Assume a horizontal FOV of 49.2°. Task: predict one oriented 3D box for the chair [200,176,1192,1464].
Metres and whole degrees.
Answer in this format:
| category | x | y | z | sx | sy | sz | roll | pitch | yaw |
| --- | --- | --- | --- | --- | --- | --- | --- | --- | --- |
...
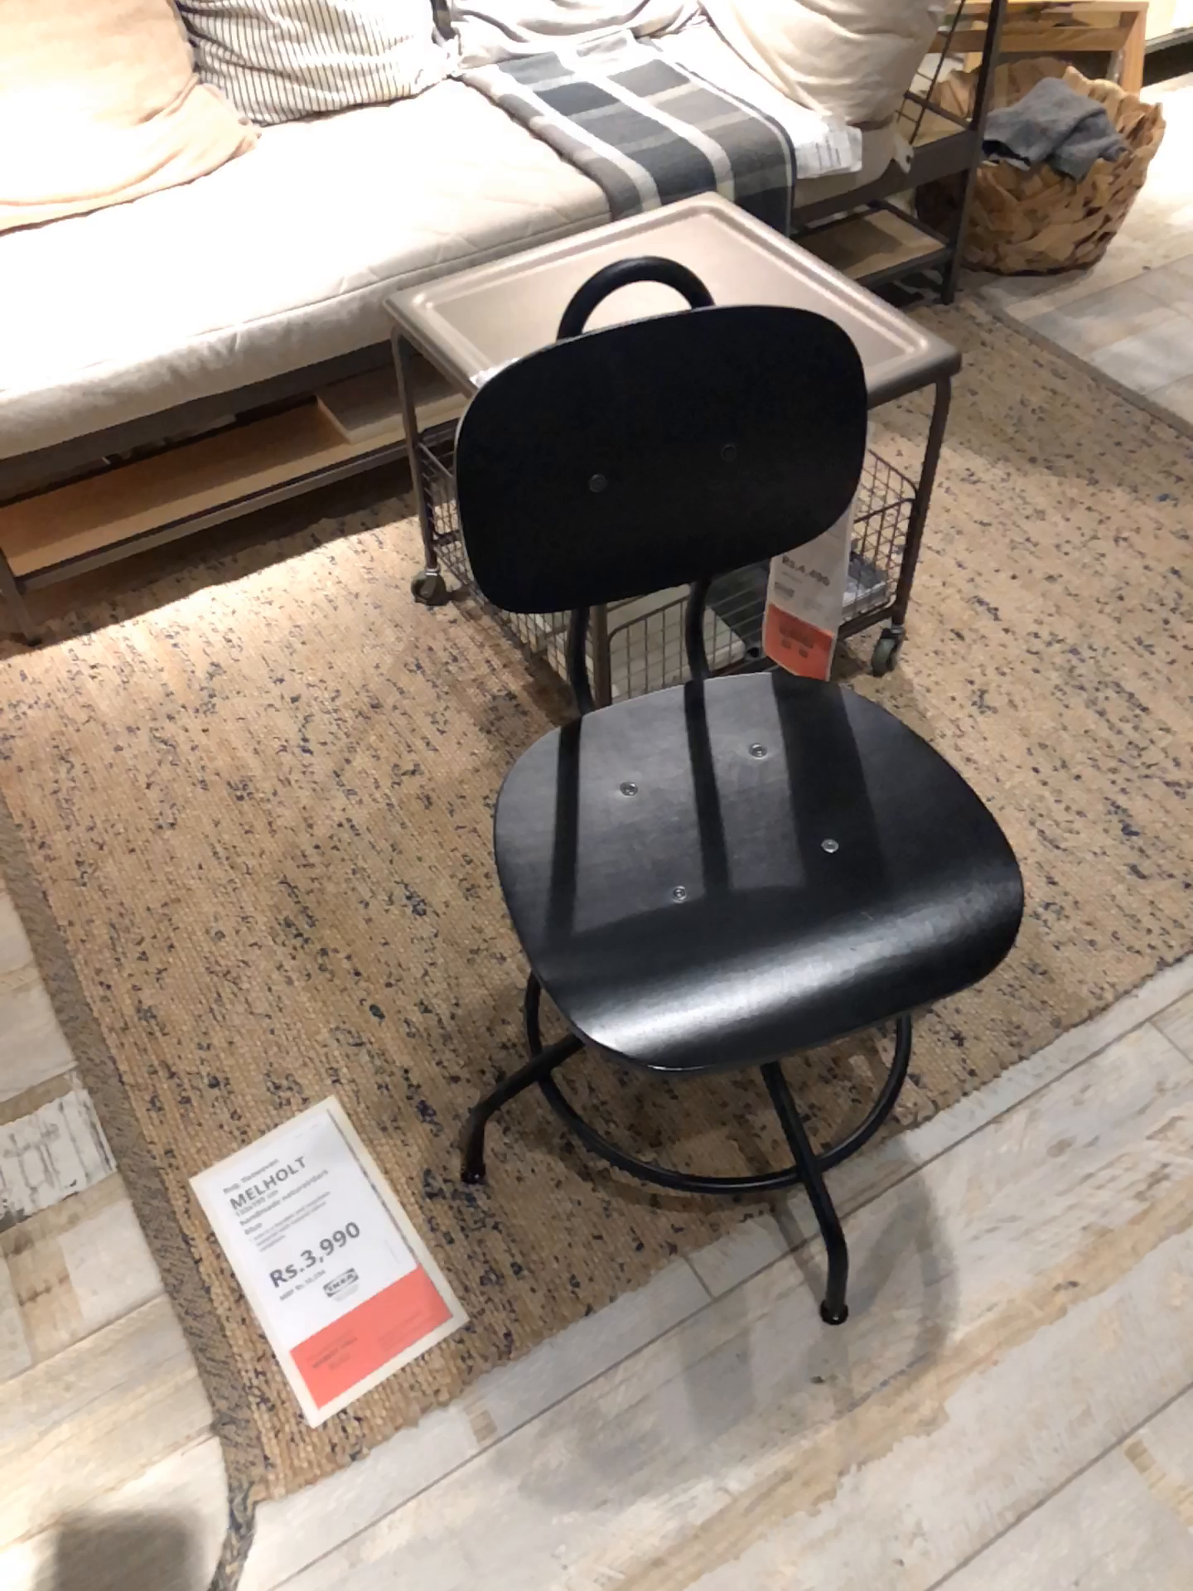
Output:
| category | x | y | z | sx | sy | sz | roll | pitch | yaw |
| --- | --- | --- | --- | --- | --- | --- | --- | --- | --- |
| chair | 0.114 | 0.044 | 1.093 | 0.590 | 0.765 | 0.583 | -18 | 51 | -12 |
